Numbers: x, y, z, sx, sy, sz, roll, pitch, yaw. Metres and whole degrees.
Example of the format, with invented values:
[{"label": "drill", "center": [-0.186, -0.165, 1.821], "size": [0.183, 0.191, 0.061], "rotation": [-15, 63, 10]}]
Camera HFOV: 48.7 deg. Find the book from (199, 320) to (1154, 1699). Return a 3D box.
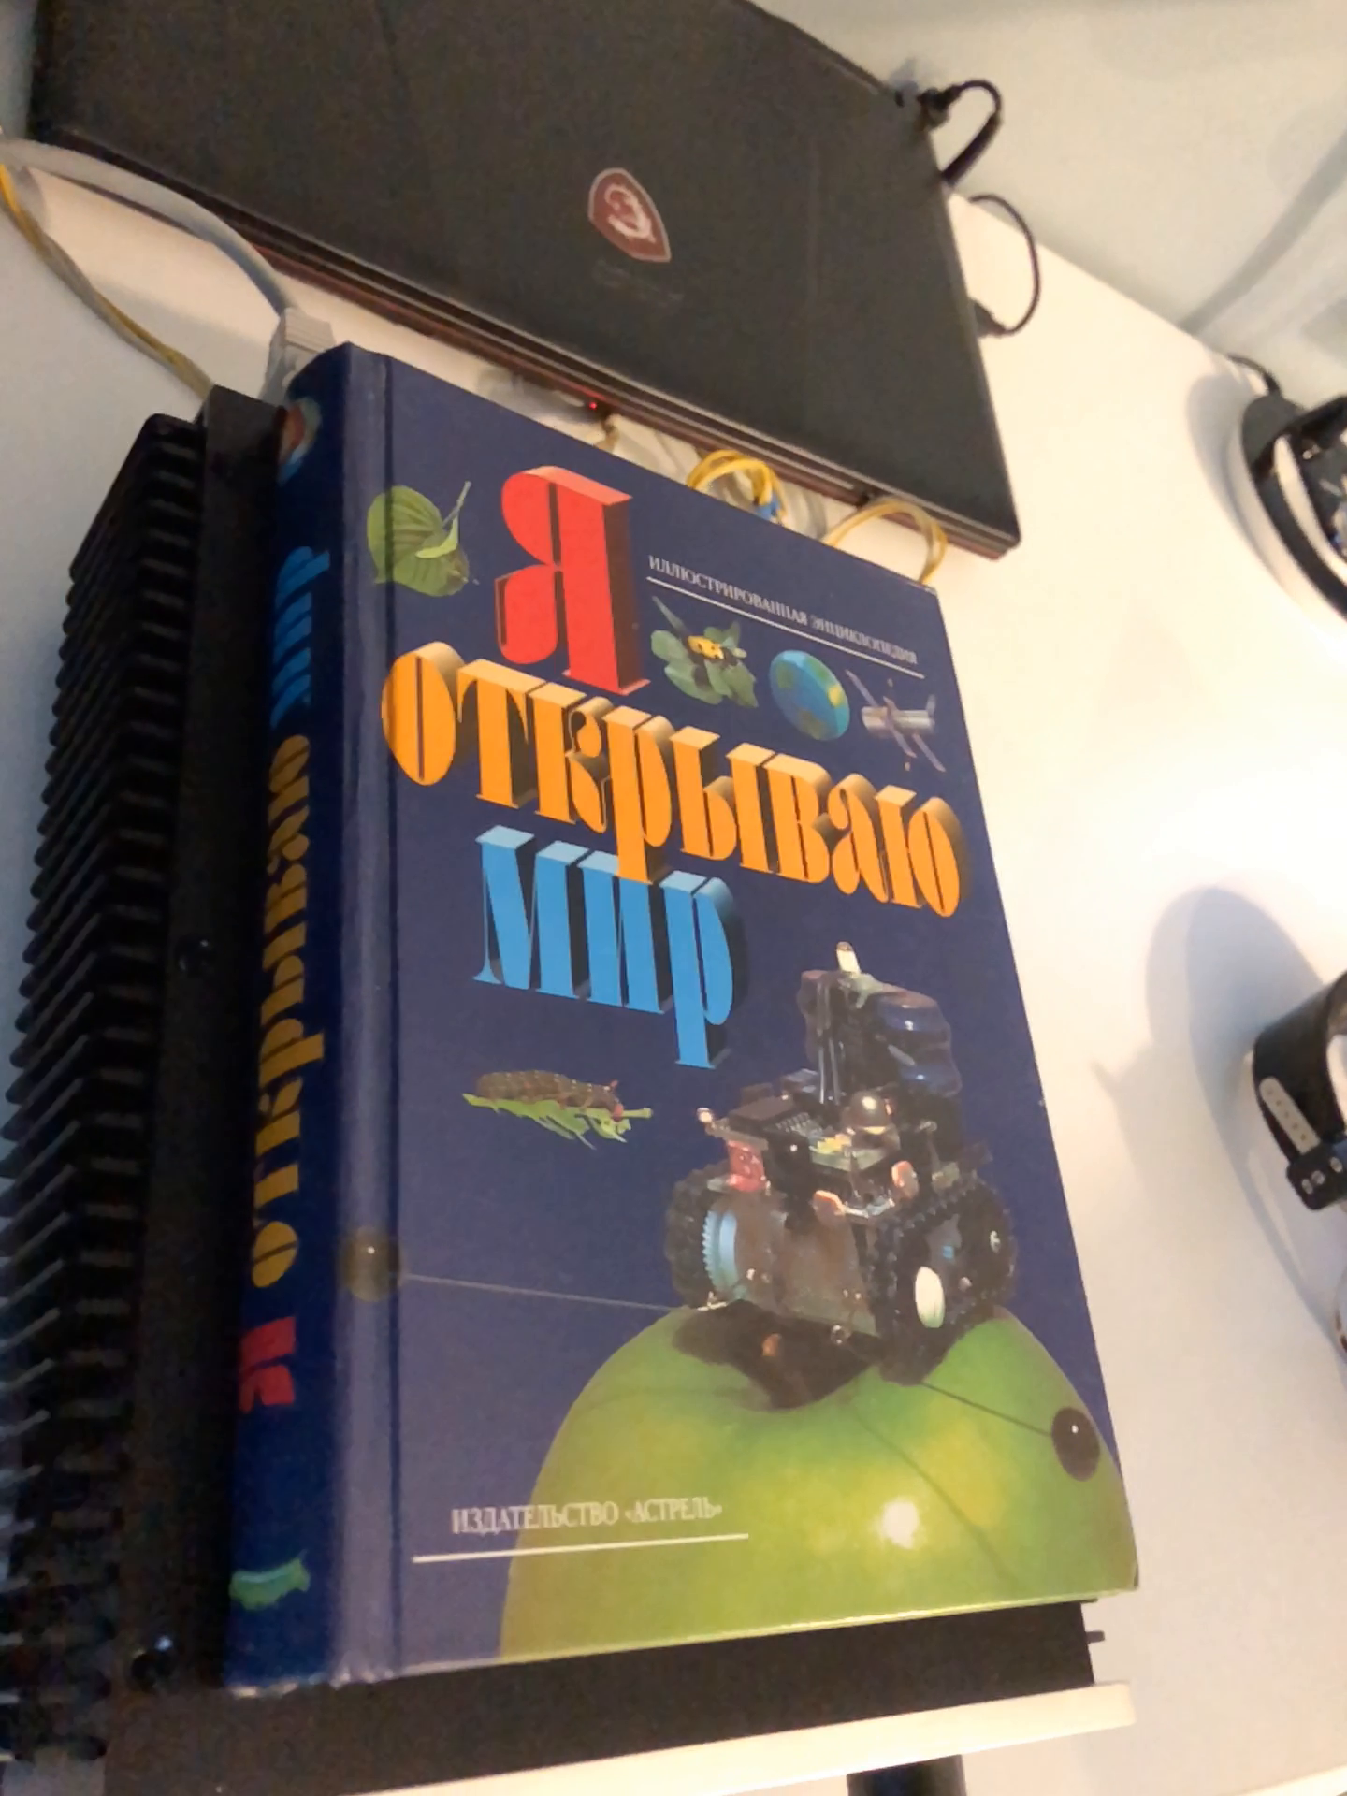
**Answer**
[{"label": "book", "center": [0.003, 0.017, 0.319], "size": [0.187, 0.030, 0.256], "rotation": [14, 58, -34]}]
